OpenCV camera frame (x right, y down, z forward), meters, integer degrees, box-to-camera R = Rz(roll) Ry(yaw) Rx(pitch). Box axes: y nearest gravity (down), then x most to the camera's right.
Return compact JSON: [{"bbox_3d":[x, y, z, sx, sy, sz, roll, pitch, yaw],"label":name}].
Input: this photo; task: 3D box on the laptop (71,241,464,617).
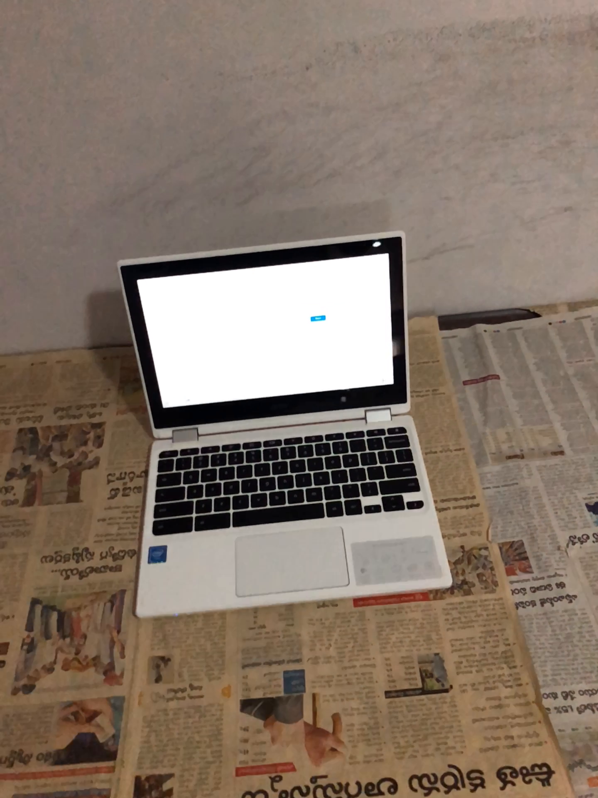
[{"bbox_3d":[-0.025,0.019,0.604,0.268,0.168,0.279,-6,48,0],"label":"laptop"}]
